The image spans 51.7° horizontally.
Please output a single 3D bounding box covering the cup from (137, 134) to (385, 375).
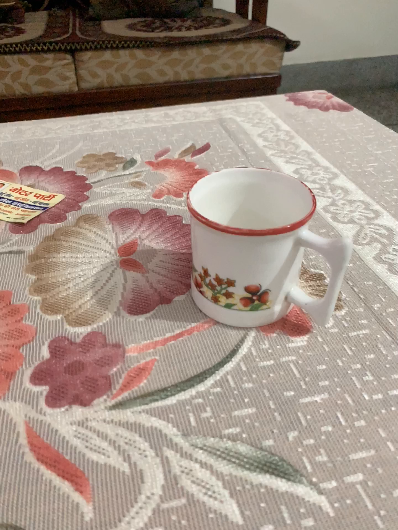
[{"bbox_3d":[0.030,-0.012,0.228,0.100,0.080,0.070,25,45,29],"label":"cup"}]
